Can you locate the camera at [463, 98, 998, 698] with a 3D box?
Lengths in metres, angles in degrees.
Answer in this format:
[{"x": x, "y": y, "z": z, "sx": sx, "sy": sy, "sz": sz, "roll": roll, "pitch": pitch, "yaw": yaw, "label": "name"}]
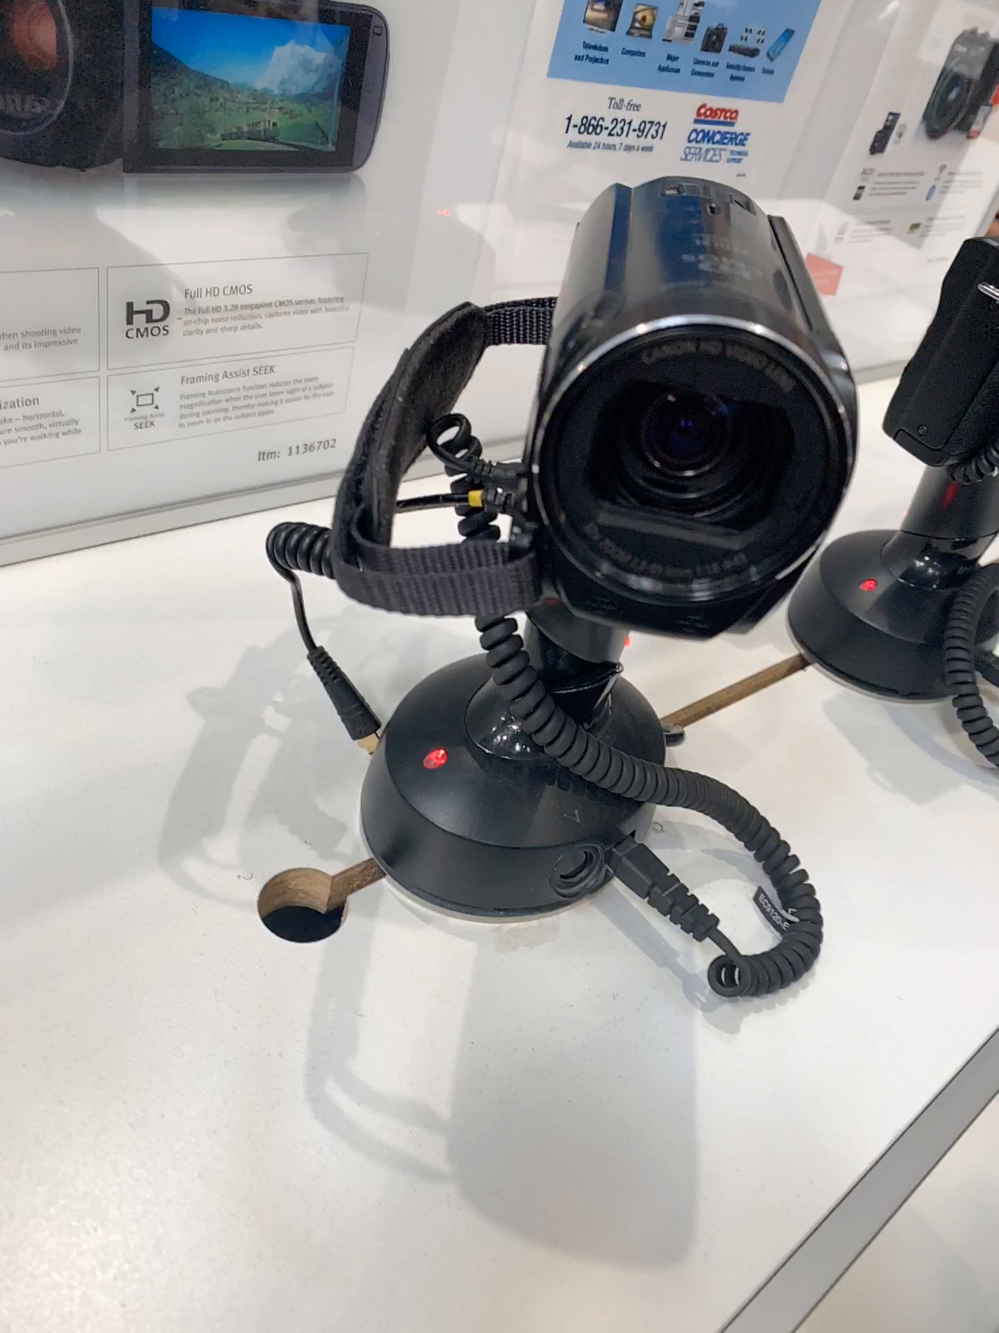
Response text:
[{"x": 0.034, "y": -0.057, "z": 0.187, "sx": 0.058, "sy": 0.054, "sz": 0.114, "roll": 14, "pitch": 36, "yaw": -4, "label": "camera"}]
